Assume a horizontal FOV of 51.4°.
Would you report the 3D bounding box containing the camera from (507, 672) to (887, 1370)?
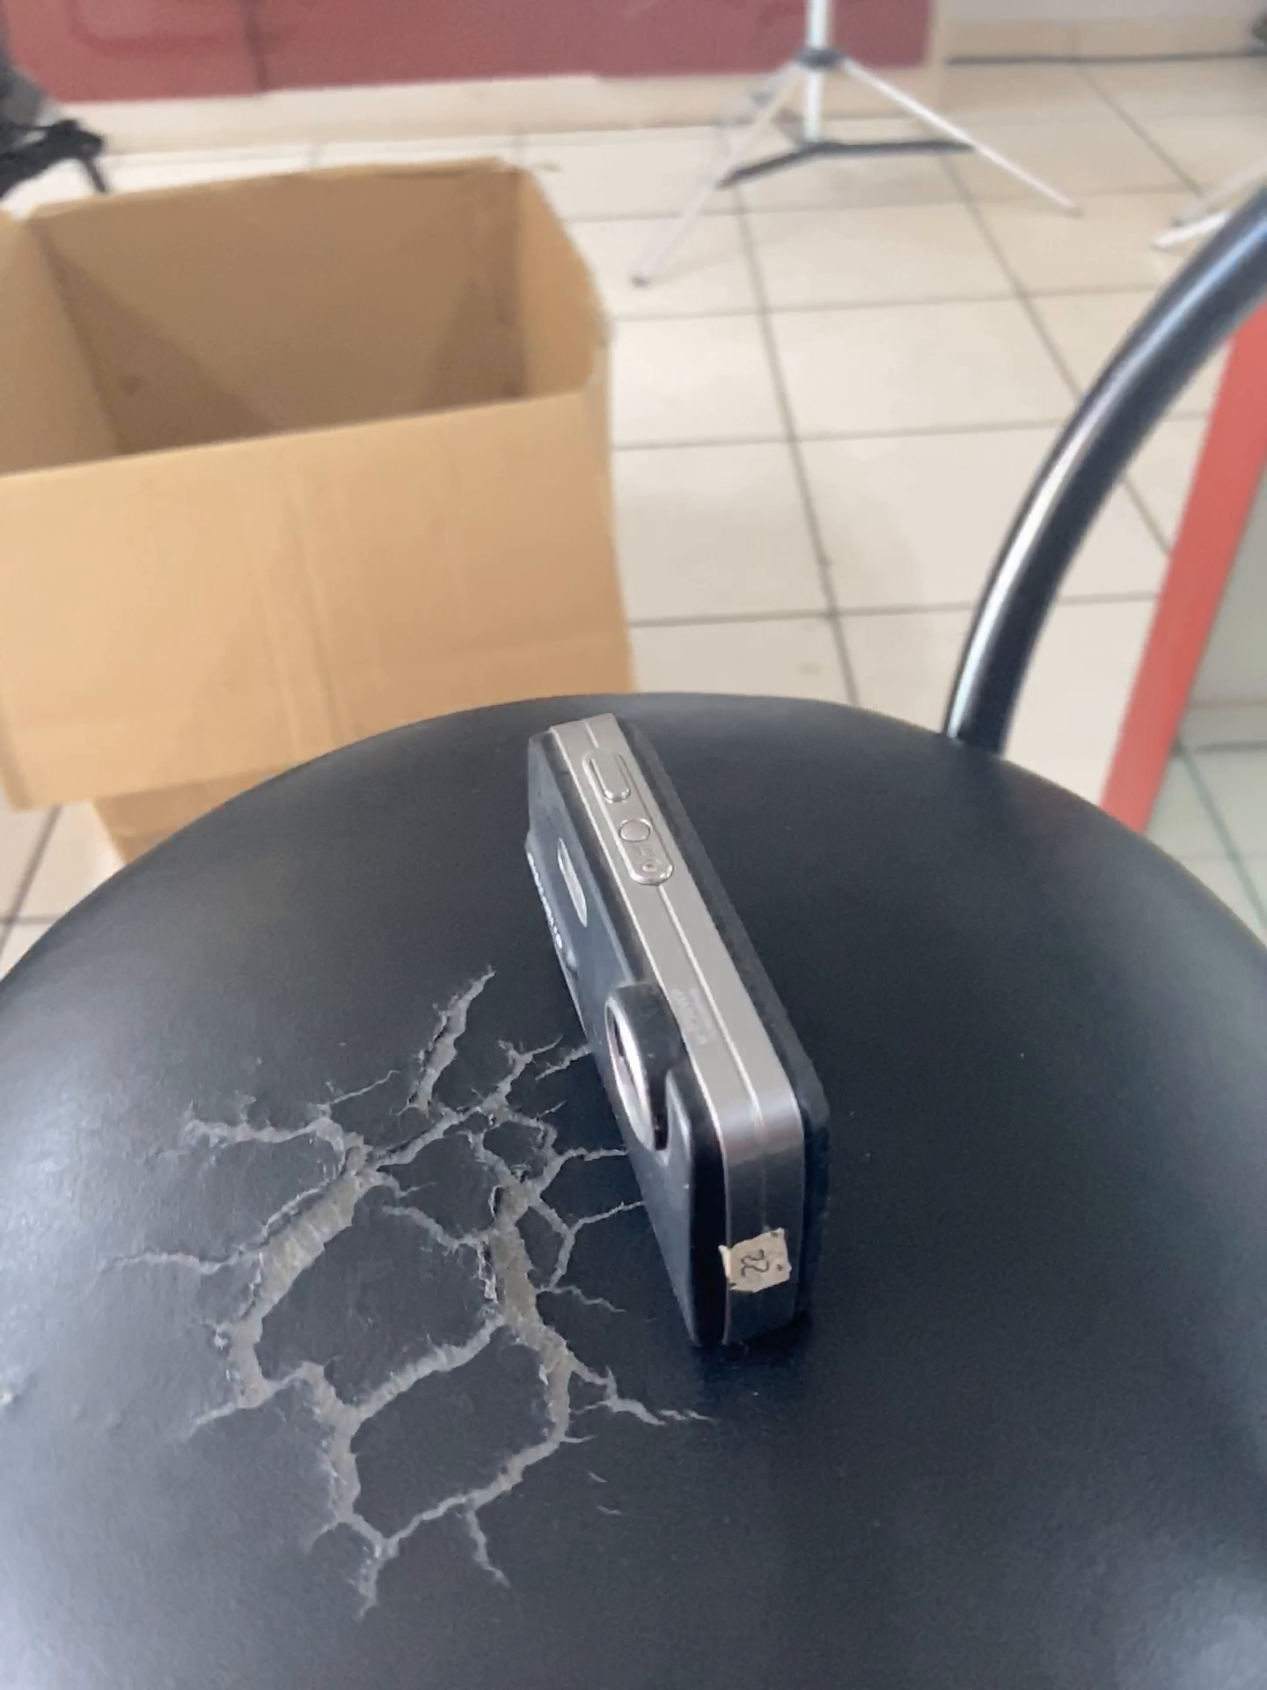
[{"bbox_3d":[0.007,0.026,0.228,0.030,0.060,0.101,-13,45,-10],"label":"camera"}]
